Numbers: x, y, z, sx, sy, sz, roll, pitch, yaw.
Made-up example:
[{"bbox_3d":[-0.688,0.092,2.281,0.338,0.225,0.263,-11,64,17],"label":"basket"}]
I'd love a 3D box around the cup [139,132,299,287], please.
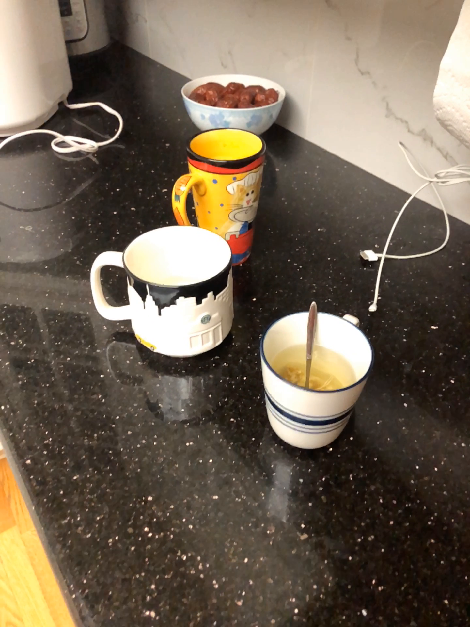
[{"bbox_3d":[-0.015,-0.126,0.598,0.100,0.099,0.150,30,49,29],"label":"cup"}]

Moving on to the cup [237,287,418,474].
[{"bbox_3d":[0.075,0.048,0.424,0.090,0.060,0.120,28,48,28],"label":"cup"}]

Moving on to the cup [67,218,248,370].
[{"bbox_3d":[-0.067,-0.023,0.506,0.140,0.080,0.111,8,41,8],"label":"cup"}]
